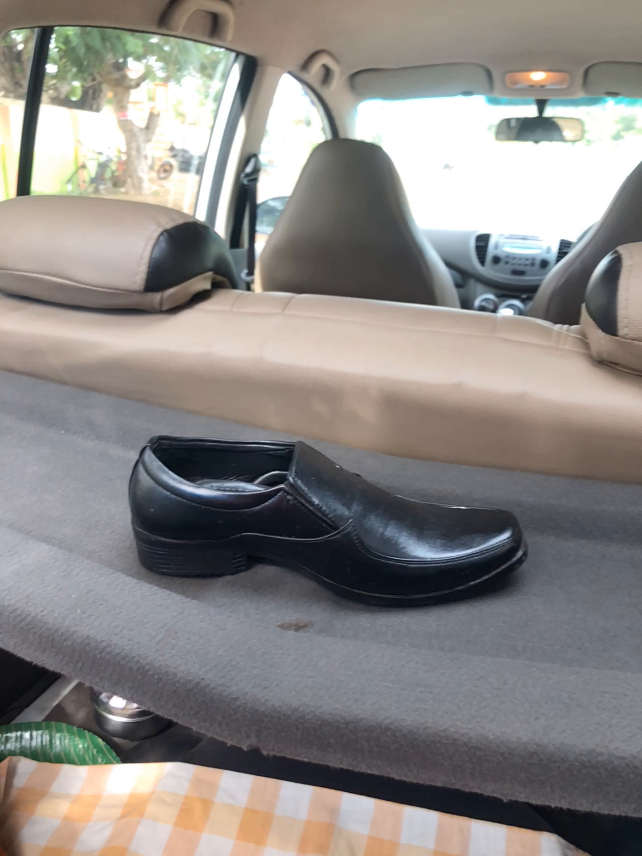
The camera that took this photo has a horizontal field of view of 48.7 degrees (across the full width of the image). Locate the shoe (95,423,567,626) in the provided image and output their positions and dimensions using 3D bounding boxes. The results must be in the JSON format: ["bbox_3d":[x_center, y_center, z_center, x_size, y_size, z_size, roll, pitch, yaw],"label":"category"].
[{"bbox_3d":[0.006,0.063,0.509,0.300,0.080,0.100,4,21,5],"label":"shoe"}]
